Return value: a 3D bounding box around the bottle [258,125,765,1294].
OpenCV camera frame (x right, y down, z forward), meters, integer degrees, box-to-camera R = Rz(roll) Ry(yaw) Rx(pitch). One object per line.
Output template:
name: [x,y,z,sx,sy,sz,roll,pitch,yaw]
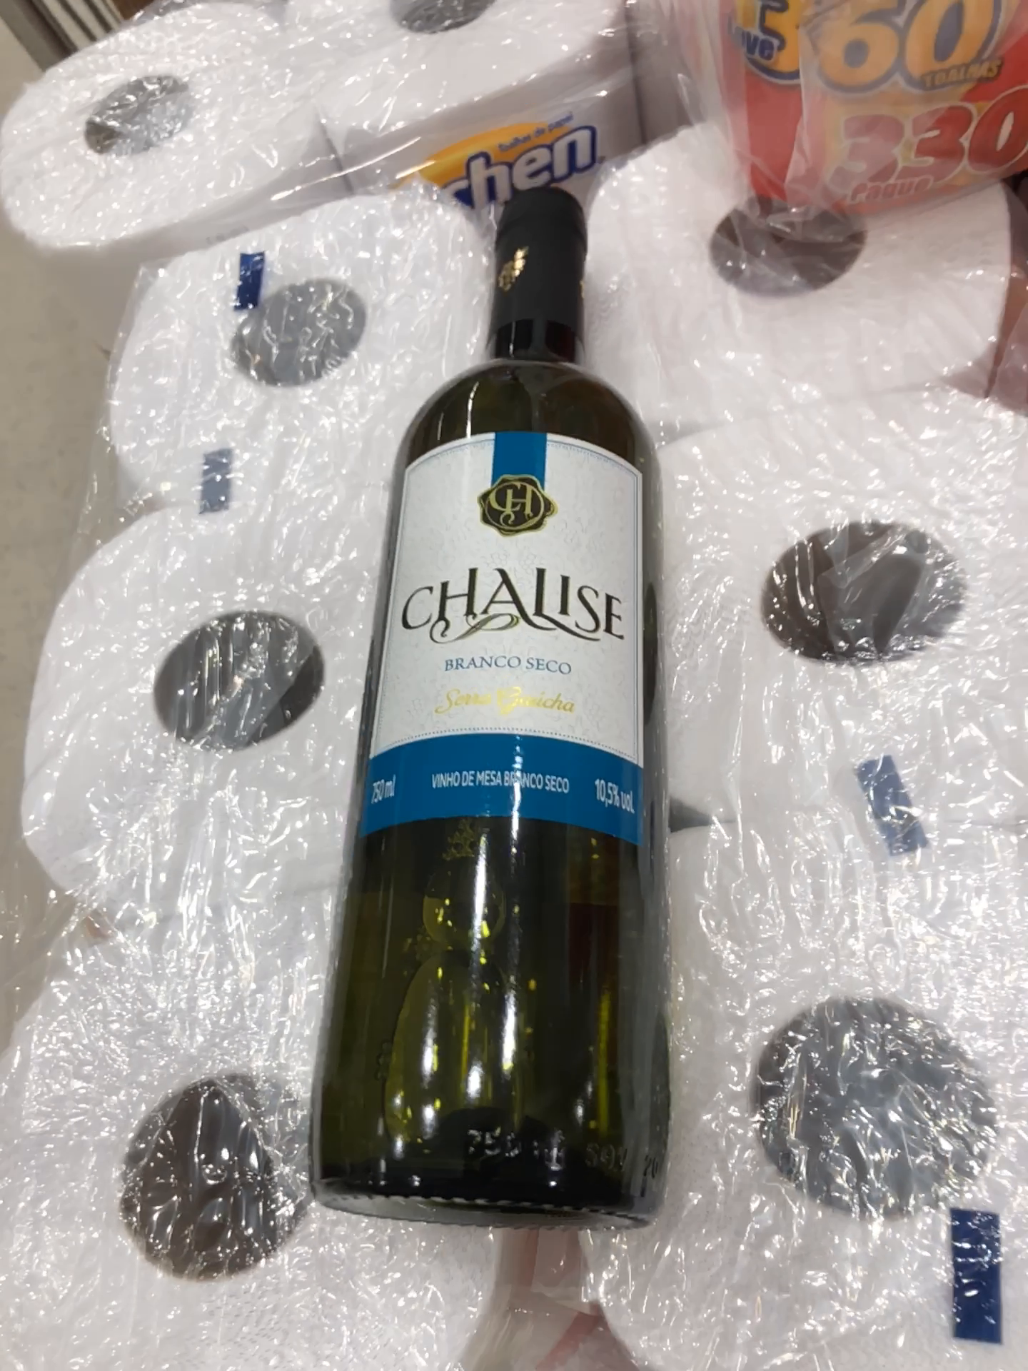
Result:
bottle: [0.007,-0.016,0.275,0.080,0.060,0.281,3,61,1]
